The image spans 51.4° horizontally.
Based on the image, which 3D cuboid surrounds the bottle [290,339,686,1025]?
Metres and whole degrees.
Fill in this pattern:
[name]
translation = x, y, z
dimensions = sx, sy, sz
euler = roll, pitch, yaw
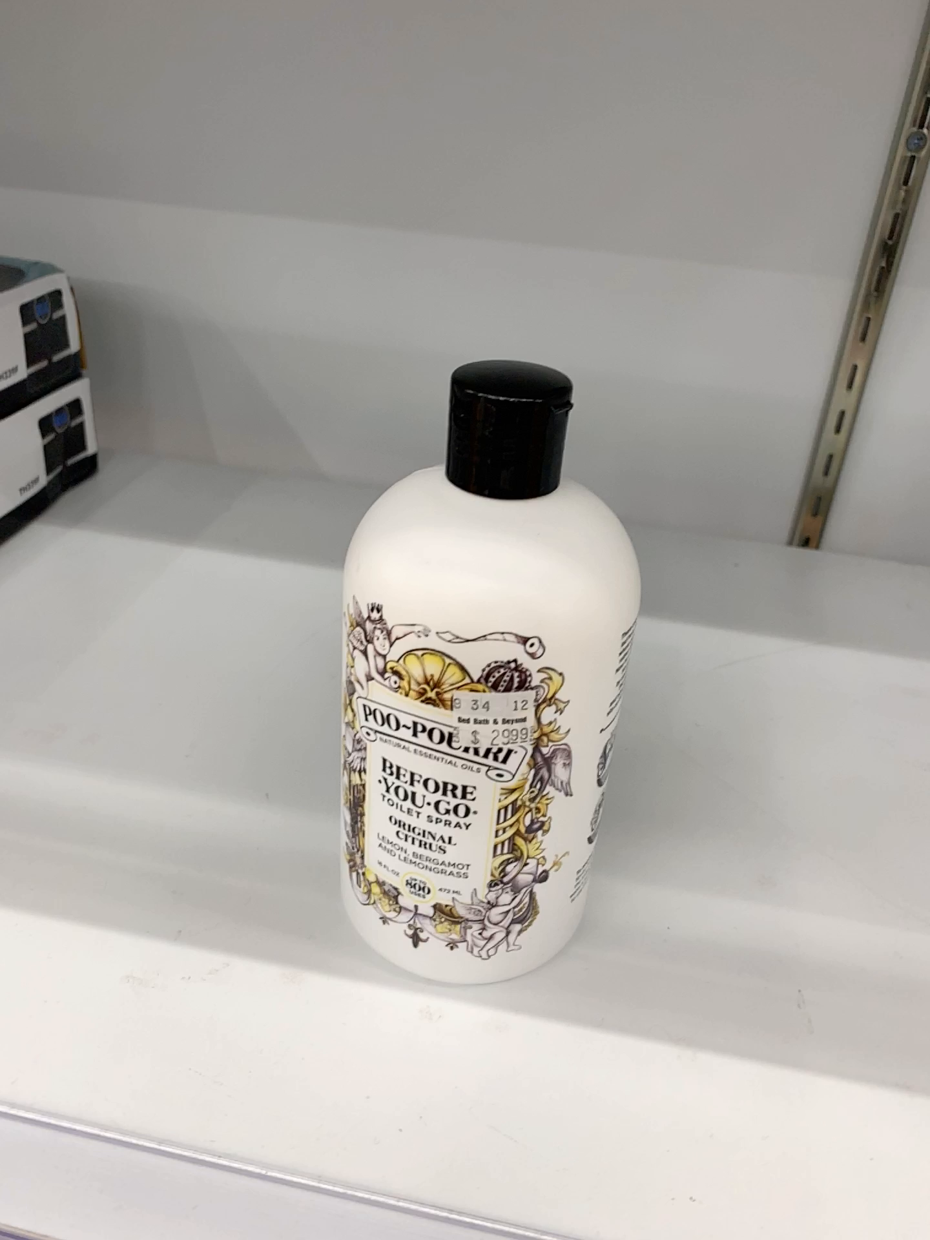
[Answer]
[bottle]
translation = 0.003, 0.017, 0.253
dimensions = 0.073, 0.153, 0.070
euler = 4, 31, -2
